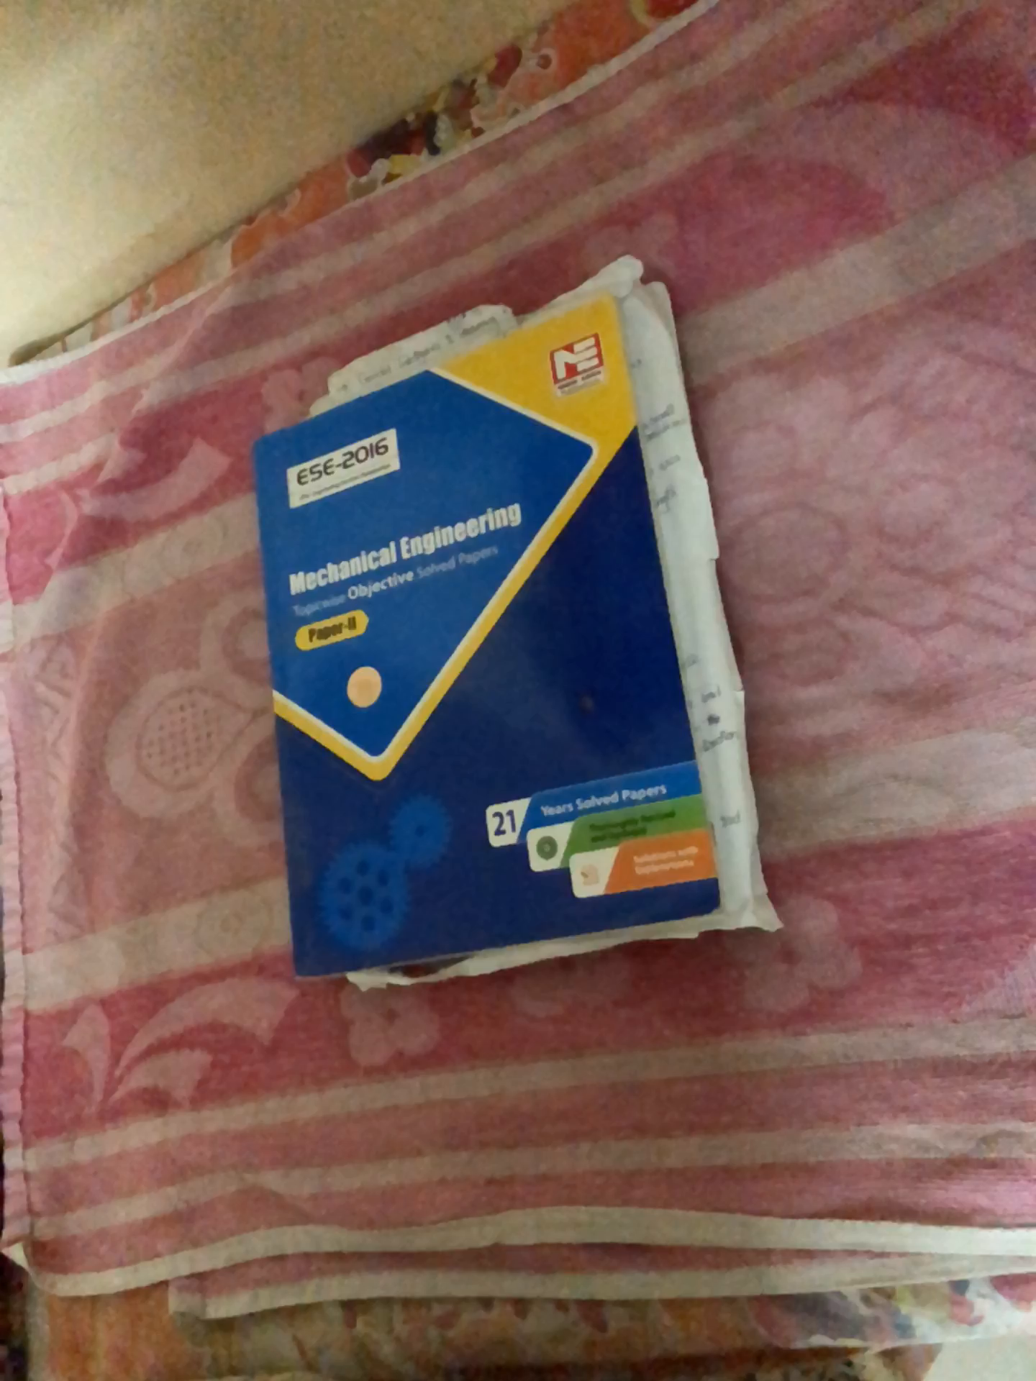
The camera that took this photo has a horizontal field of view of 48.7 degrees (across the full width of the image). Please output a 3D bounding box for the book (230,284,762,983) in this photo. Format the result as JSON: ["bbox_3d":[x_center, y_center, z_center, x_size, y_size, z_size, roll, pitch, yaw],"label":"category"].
[{"bbox_3d":[-0.023,-0.017,0.533,0.215,0.055,0.270,-15,75,26],"label":"book"}]
